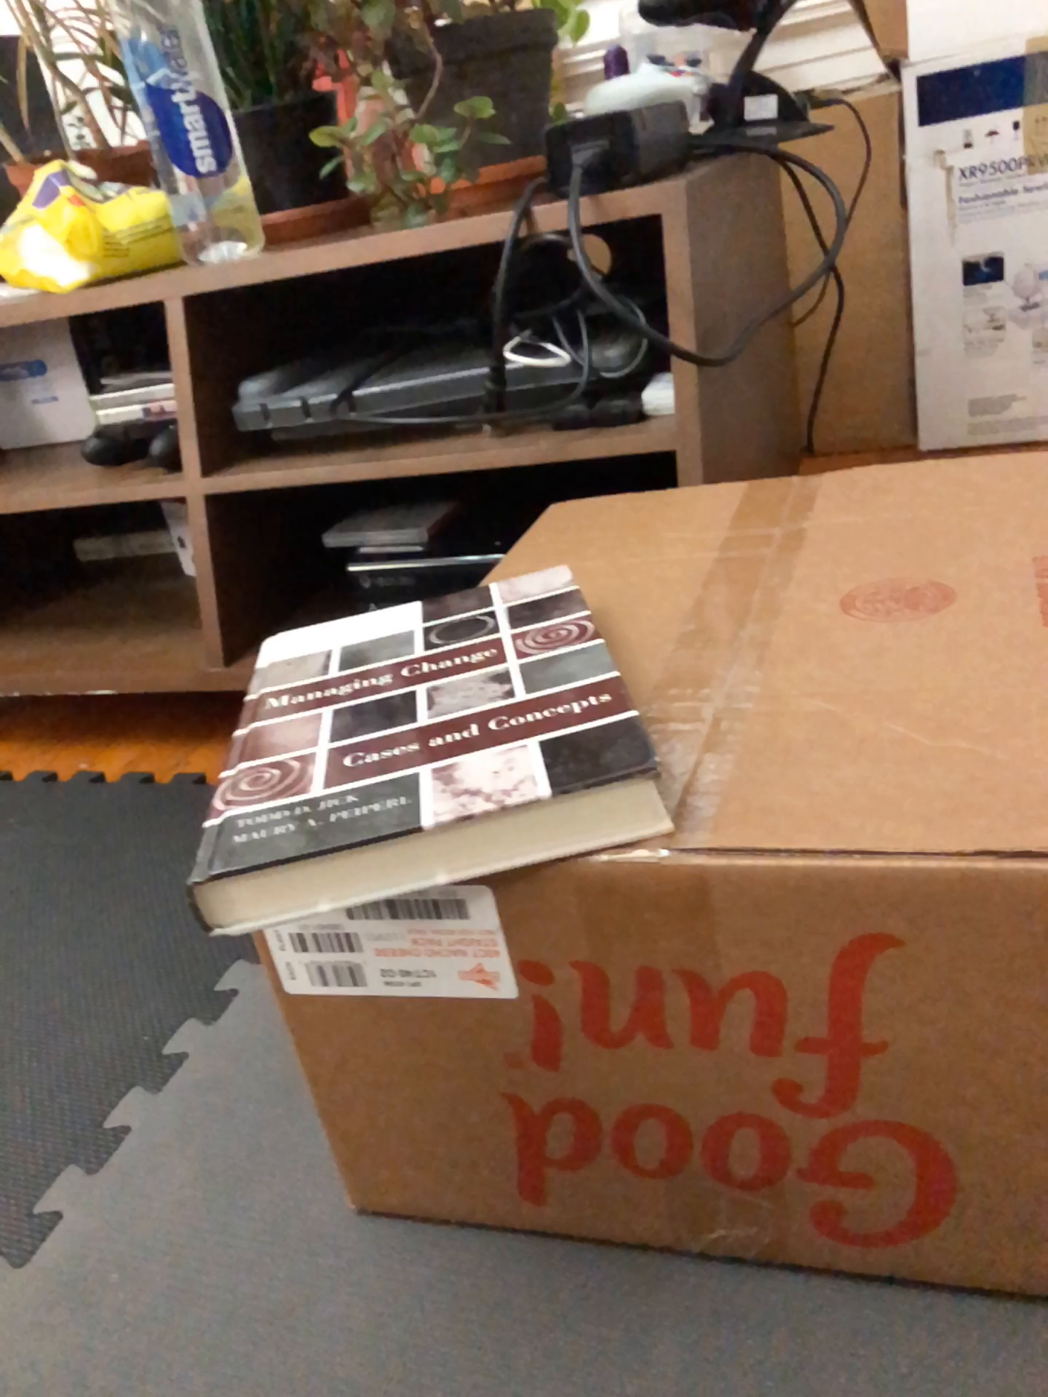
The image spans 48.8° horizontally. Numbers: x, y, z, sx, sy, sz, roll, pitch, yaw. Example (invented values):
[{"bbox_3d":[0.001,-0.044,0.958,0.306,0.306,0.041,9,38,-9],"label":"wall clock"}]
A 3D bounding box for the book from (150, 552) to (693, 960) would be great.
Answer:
[{"bbox_3d":[-0.046,0.006,0.503,0.180,0.030,0.251,-13,25,-1],"label":"book"}]
